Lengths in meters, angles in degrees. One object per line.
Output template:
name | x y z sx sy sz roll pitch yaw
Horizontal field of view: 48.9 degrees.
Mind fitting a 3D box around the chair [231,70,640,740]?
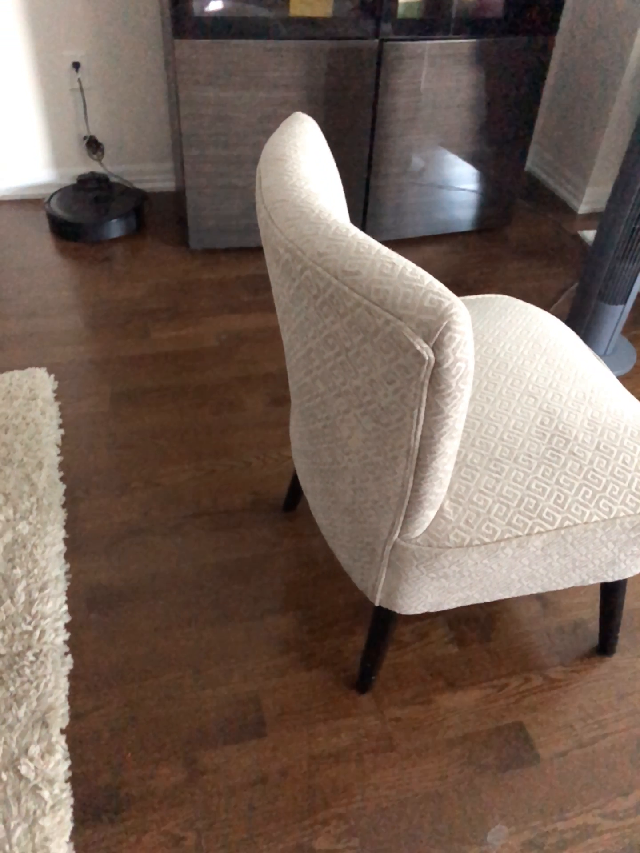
chair | 0.246 -0.049 1.141 0.640 0.797 0.602 -10 44 -15
